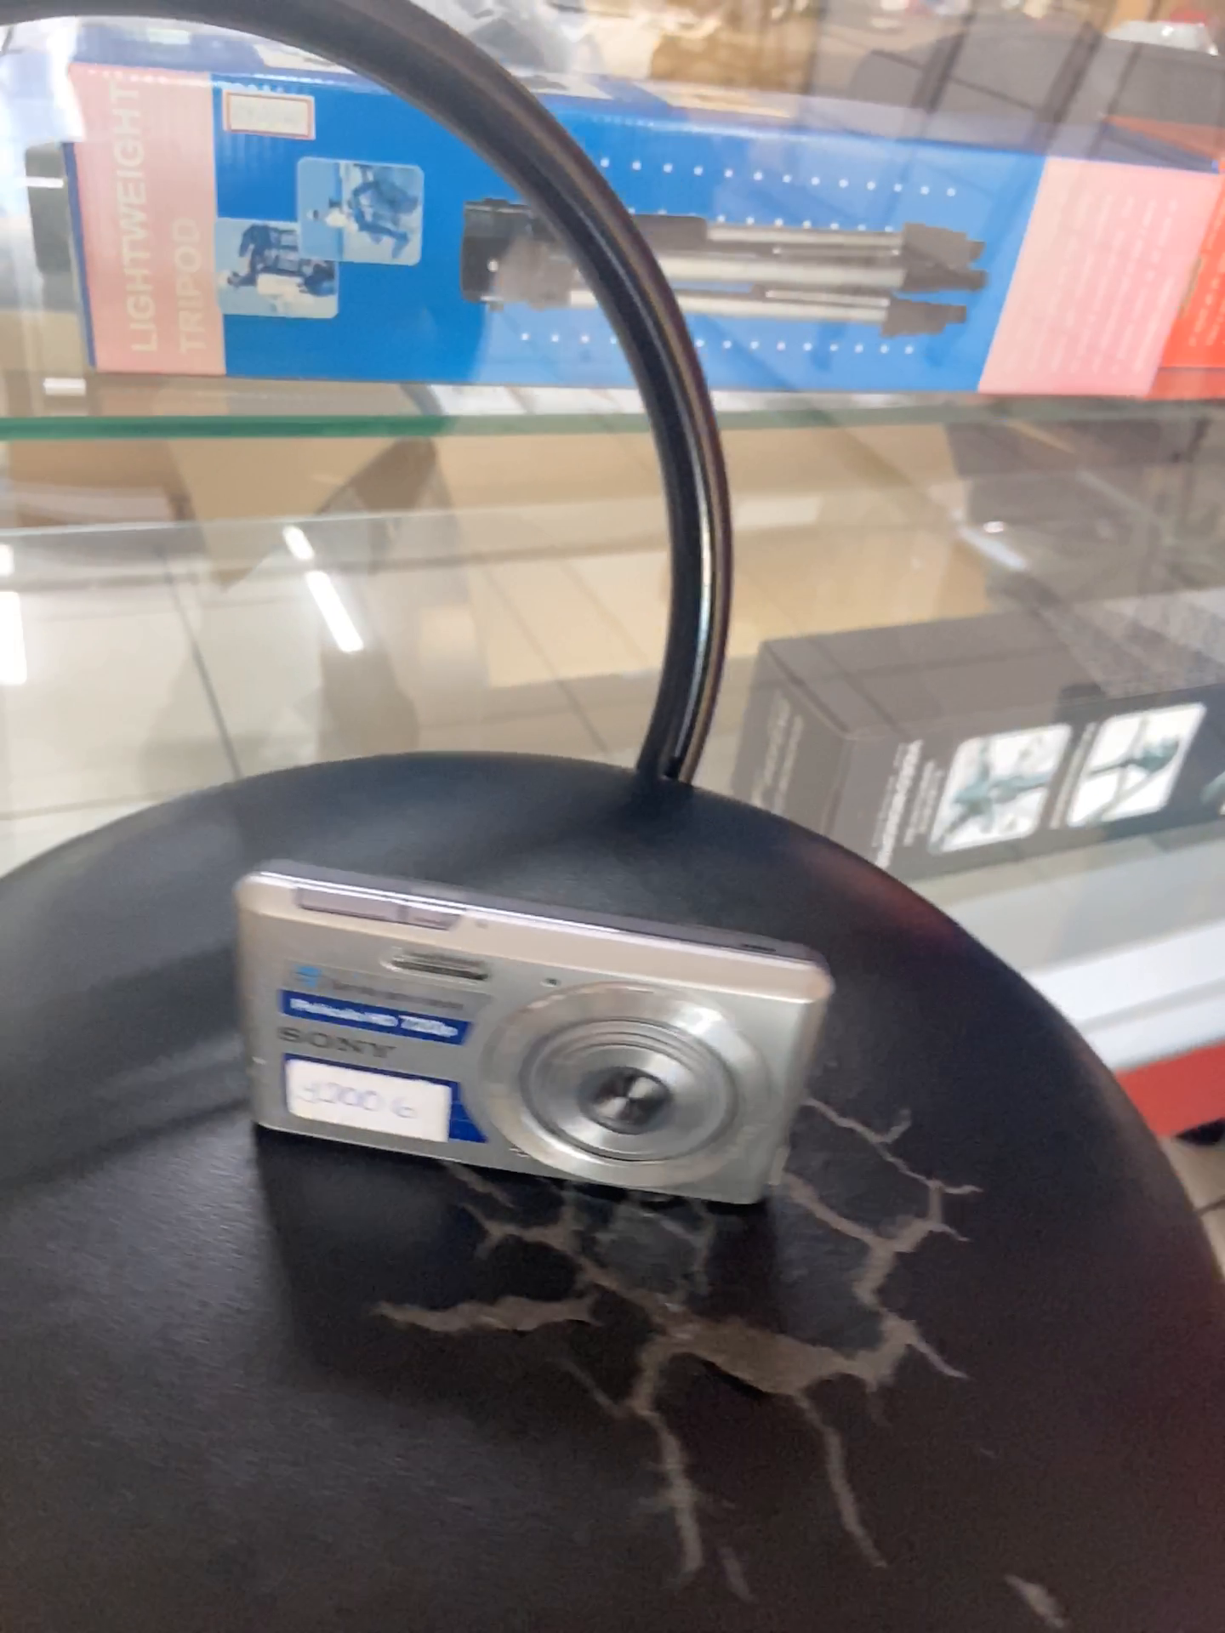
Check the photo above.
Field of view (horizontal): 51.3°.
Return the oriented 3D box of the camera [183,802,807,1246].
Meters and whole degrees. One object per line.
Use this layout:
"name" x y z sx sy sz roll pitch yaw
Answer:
"camera" -0.021 0.038 0.231 0.100 0.060 0.030 10 36 1
